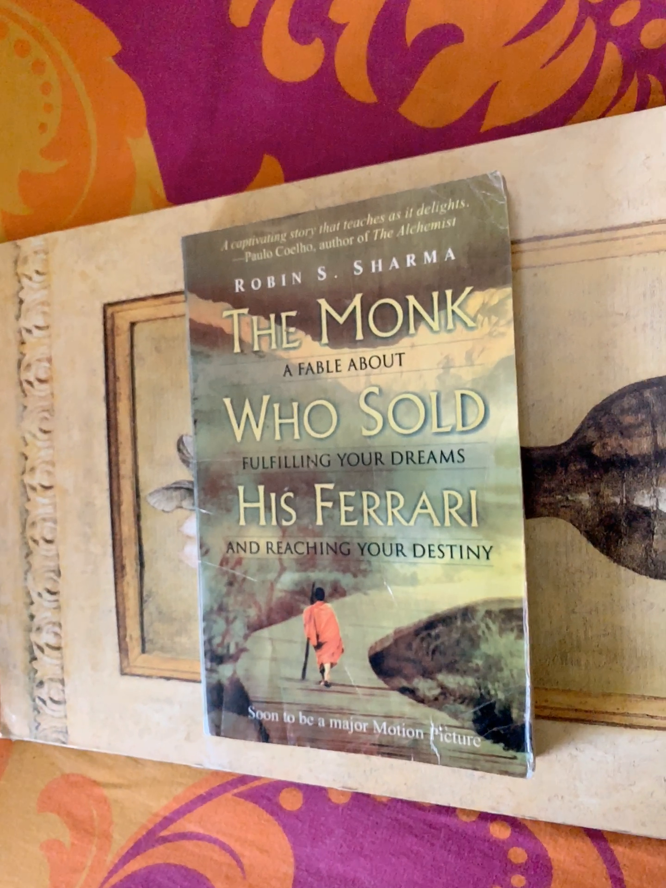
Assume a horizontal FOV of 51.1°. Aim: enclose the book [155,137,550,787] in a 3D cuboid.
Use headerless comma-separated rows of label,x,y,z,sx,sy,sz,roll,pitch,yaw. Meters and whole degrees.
book,0.004,0.008,0.252,0.130,0.030,0.200,-3,89,22
